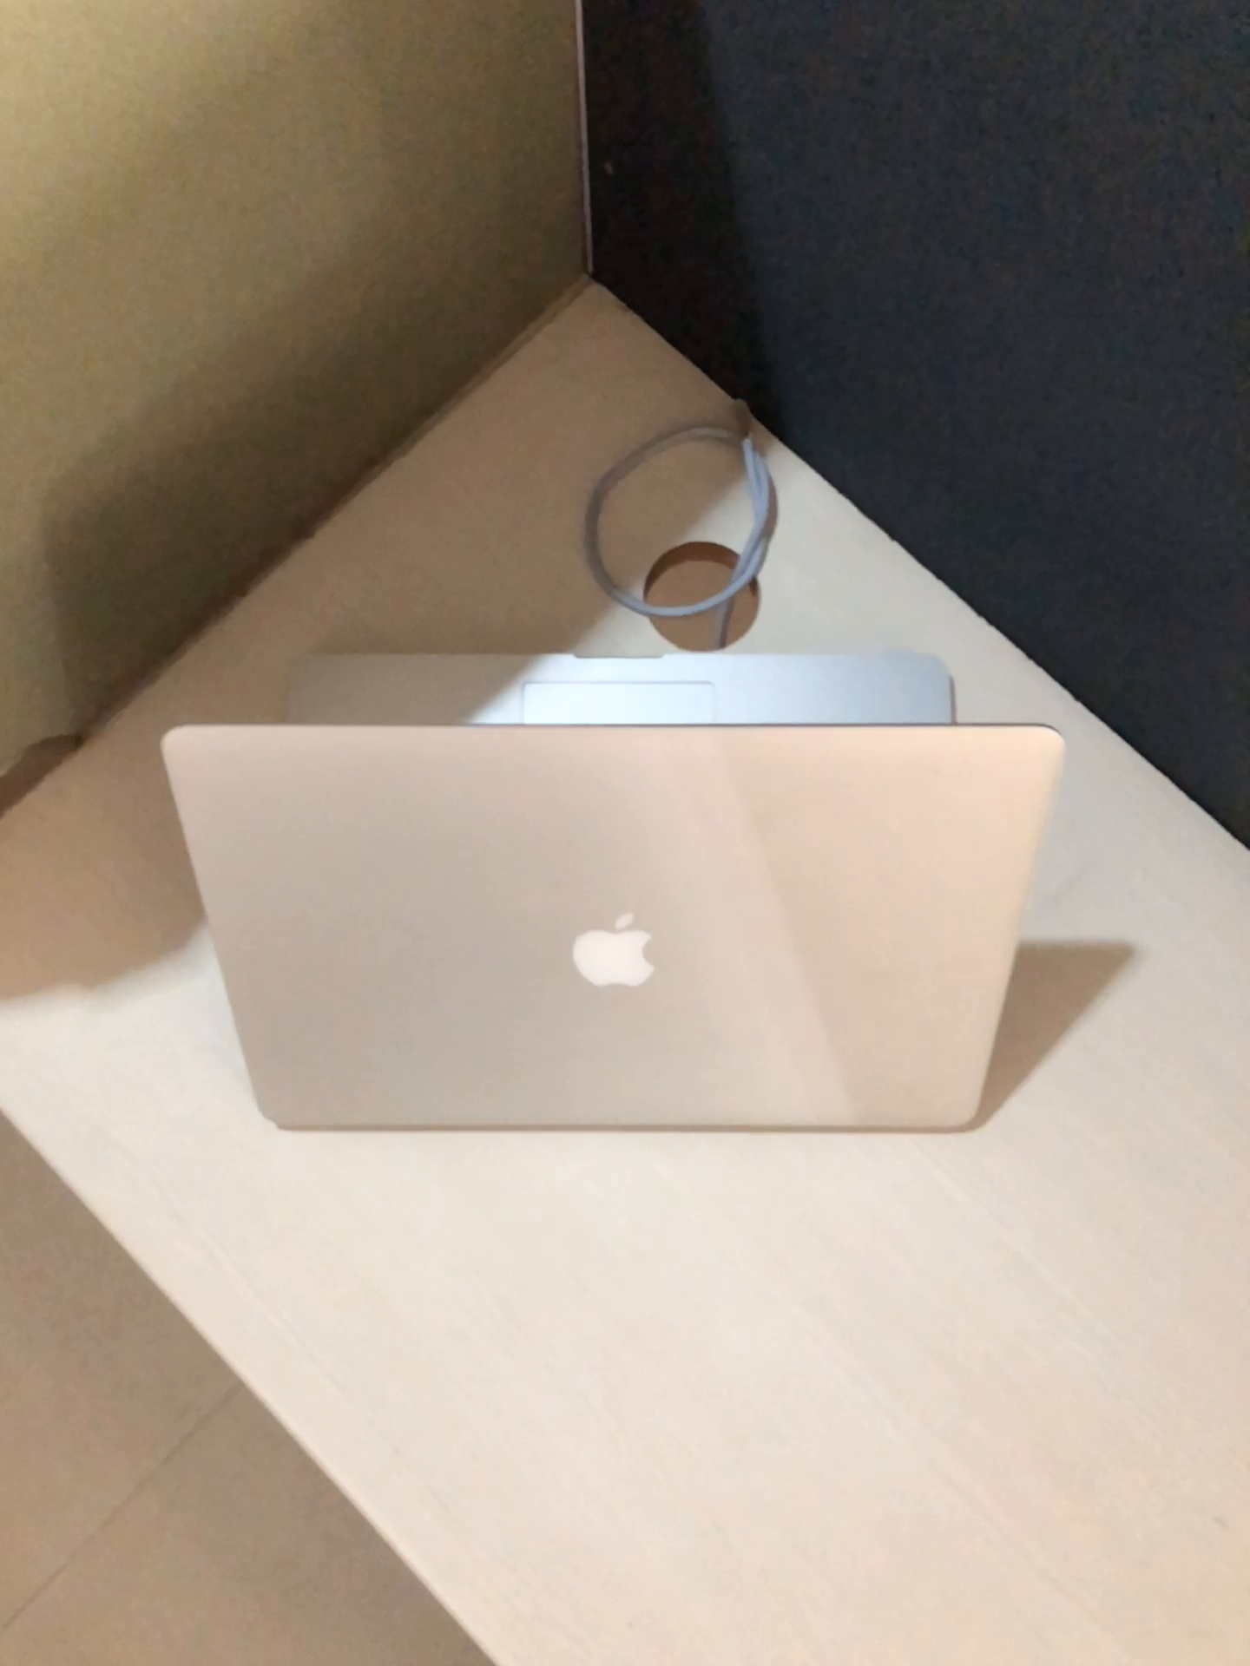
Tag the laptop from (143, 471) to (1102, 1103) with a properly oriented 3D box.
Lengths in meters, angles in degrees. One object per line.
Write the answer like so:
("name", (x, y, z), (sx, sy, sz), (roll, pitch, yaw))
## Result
("laptop", (0.000, -0.004, 0.616), (0.343, 0.199, 0.235), (0, 77, 0))
